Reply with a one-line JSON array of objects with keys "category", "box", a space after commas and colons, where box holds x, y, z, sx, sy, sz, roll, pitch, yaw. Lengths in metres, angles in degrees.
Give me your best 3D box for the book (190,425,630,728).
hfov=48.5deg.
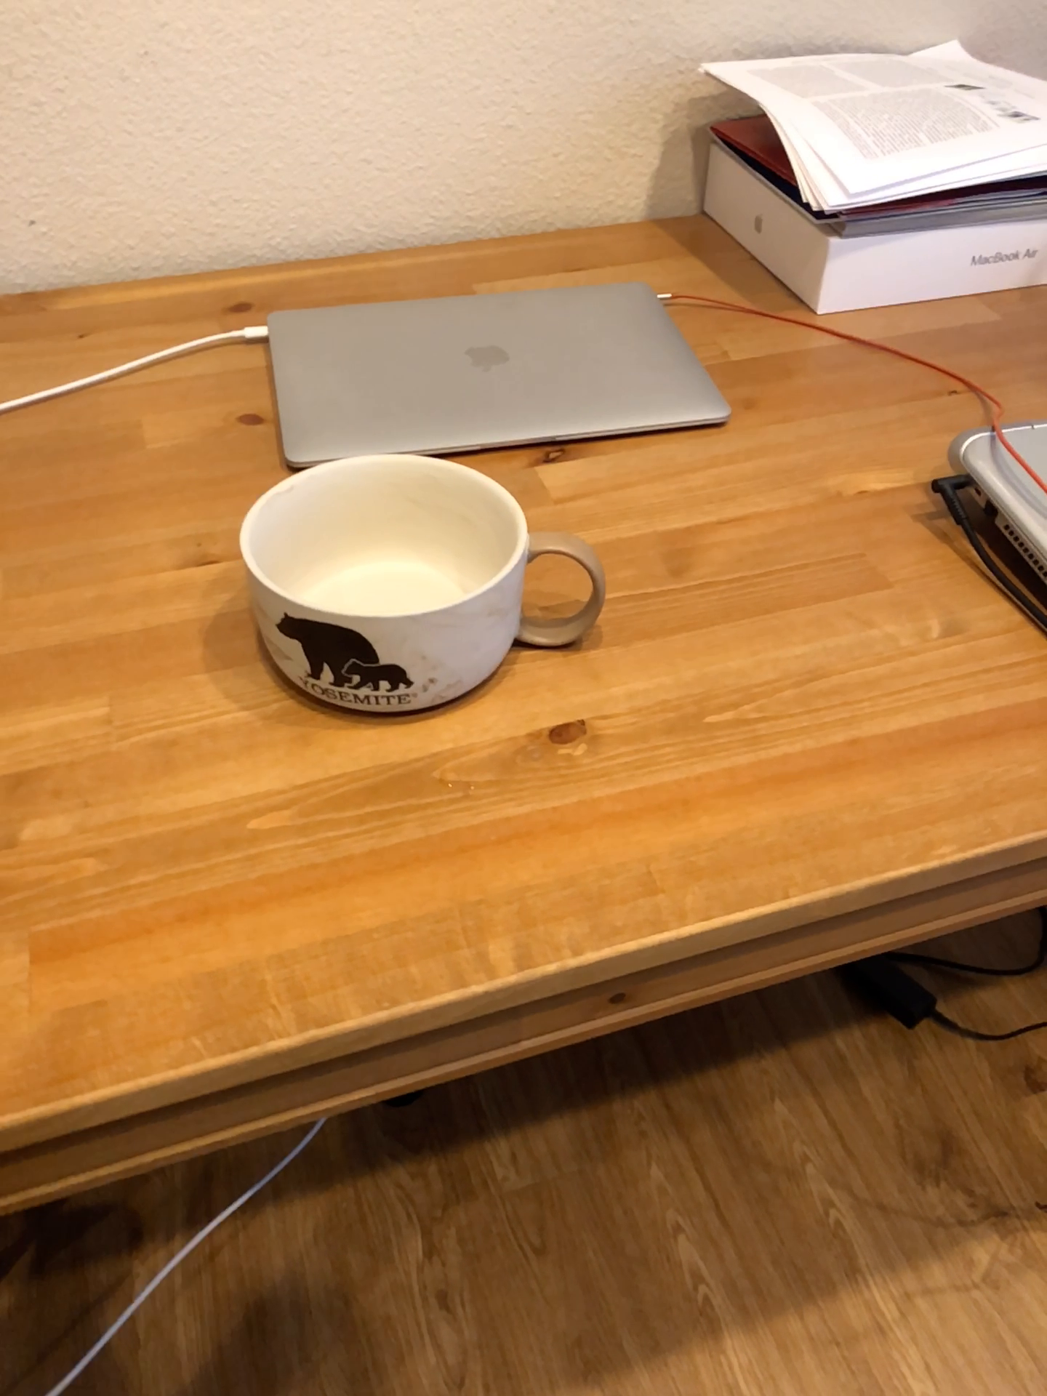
[{"category": "book", "box": [-0.046, -0.063, 0.573, 0.190, 0.080, 0.131, 2, 43, 2]}]
